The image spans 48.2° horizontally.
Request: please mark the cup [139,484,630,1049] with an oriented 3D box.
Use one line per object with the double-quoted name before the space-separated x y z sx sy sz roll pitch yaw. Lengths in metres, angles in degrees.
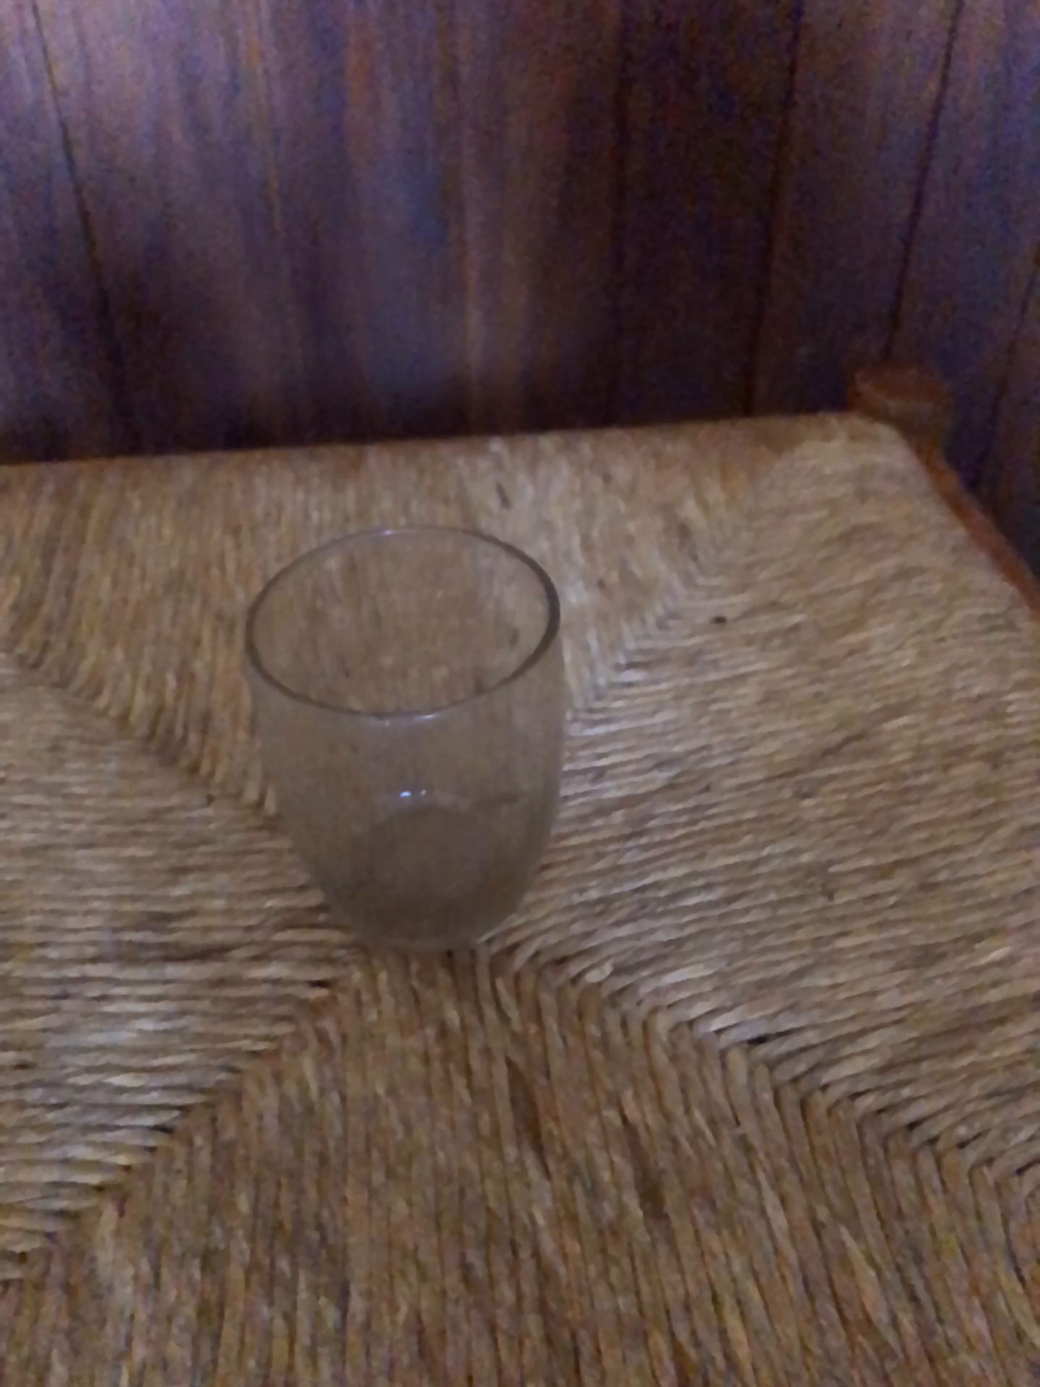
"cup" -0.022 0.014 0.248 0.070 0.079 0.071 0 41 0
